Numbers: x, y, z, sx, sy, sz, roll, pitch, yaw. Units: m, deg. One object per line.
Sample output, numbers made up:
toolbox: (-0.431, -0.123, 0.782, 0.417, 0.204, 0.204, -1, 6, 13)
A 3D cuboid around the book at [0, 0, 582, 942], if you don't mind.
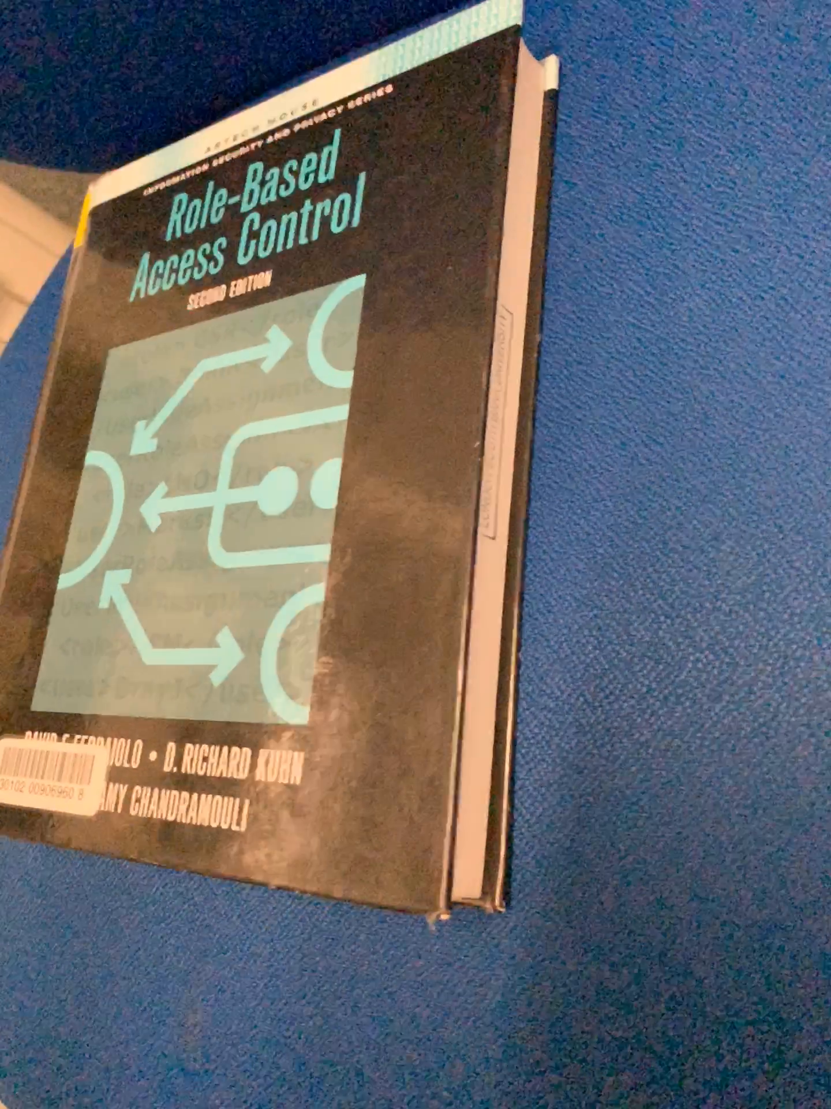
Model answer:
book: (-0.051, -0.032, 0.259, 0.190, 0.030, 0.240, -4, 71, 32)
